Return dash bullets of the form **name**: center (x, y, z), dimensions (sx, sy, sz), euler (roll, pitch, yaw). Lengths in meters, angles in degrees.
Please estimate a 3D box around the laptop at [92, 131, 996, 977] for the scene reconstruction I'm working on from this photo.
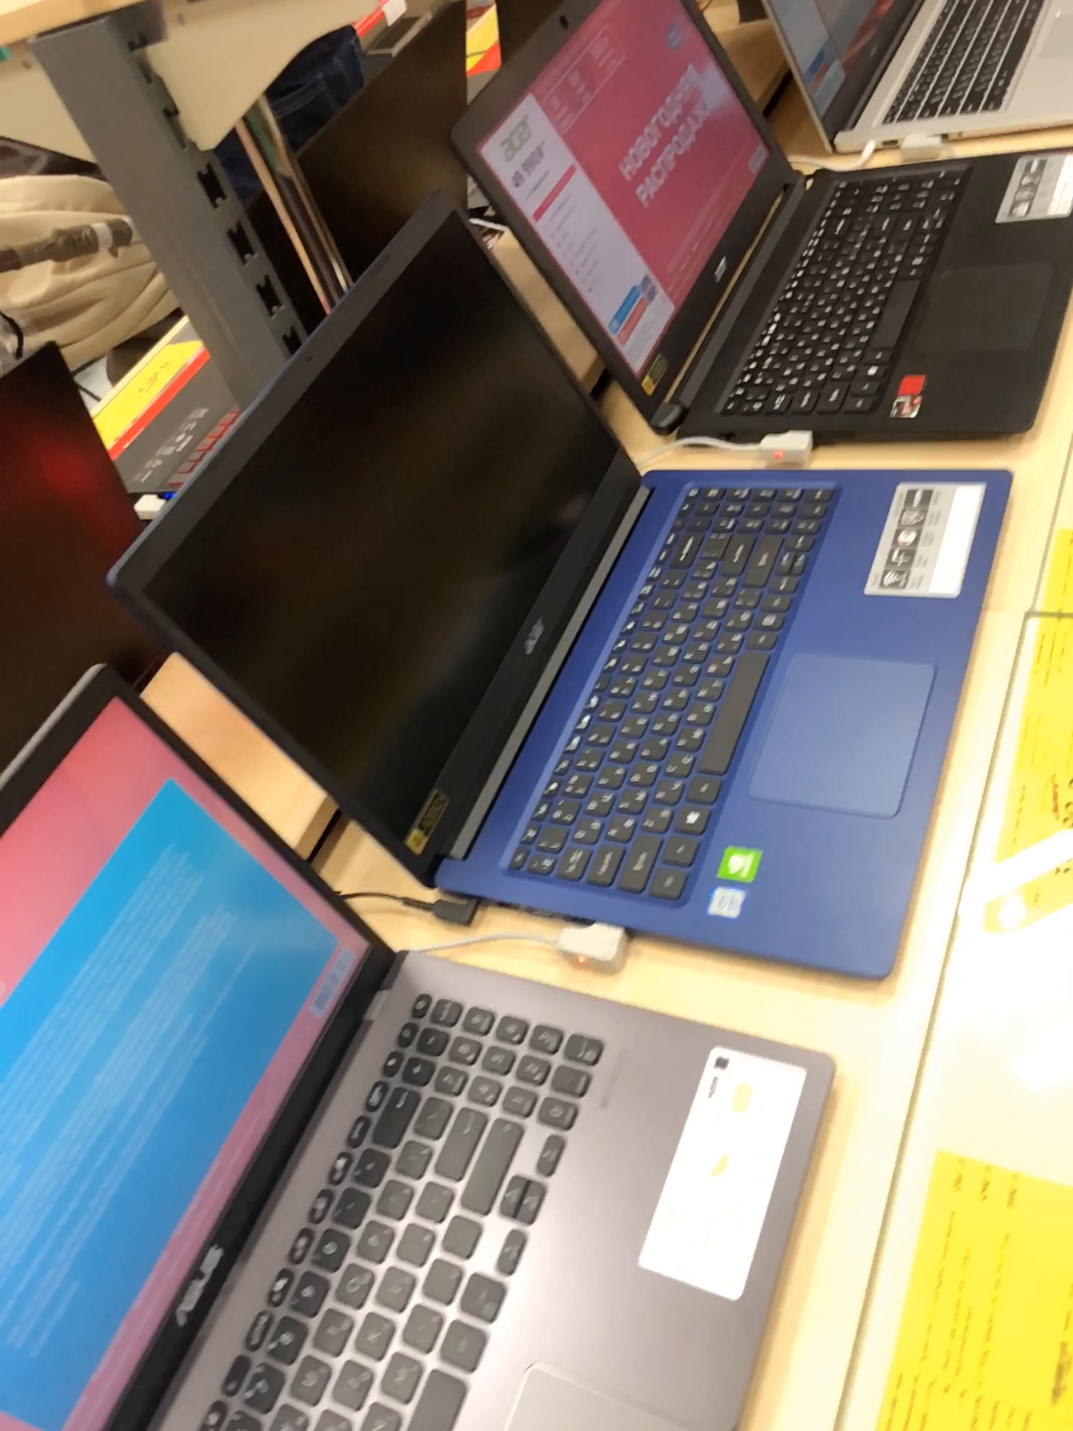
- **laptop**: center (0.044, -0.107, 0.639), dimensions (0.327, 0.221, 0.358), euler (6, 50, 27)
